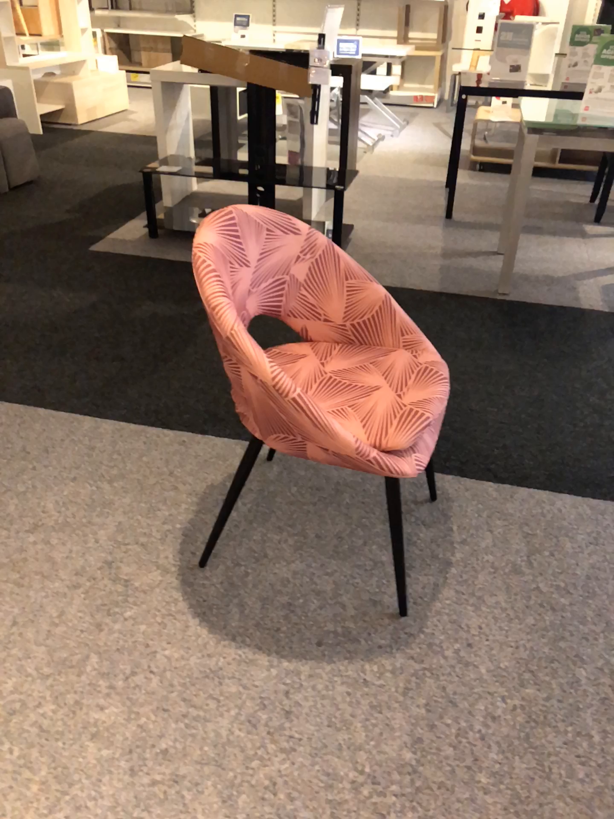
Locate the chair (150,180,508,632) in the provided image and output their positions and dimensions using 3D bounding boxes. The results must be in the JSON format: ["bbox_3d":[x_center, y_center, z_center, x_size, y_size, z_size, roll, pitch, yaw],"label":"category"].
[{"bbox_3d":[0.072,-0.034,1.565,0.599,0.795,0.534,11,33,14],"label":"chair"}]
